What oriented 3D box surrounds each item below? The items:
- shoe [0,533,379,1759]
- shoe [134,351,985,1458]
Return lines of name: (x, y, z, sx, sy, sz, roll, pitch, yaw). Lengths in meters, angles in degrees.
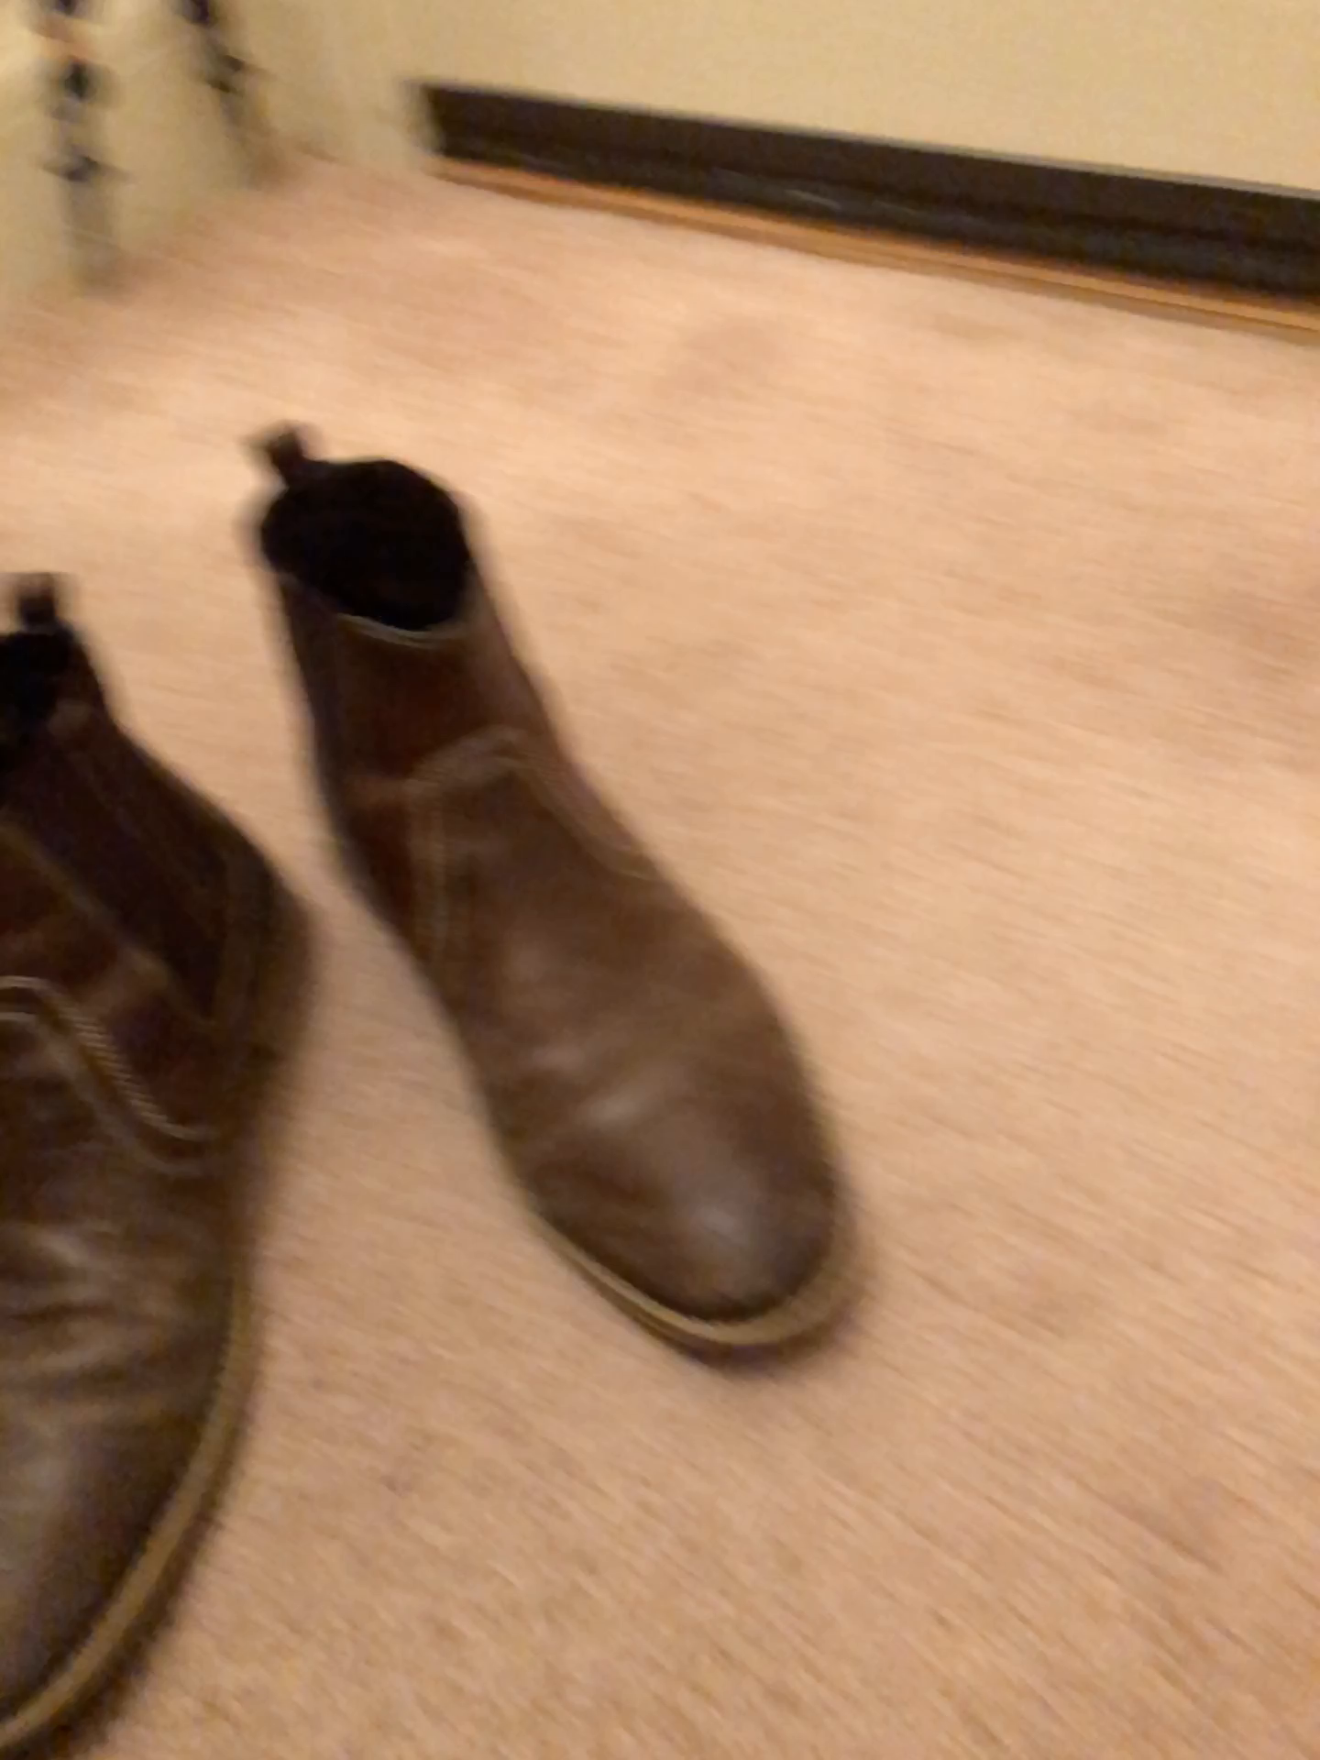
shoe: (-0.185, 0.062, 0.412, 0.118, 0.158, 0.300, -3, 48, 8)
shoe: (-0.040, -0.011, 0.449, 0.119, 0.158, 0.299, -26, 49, -12)
